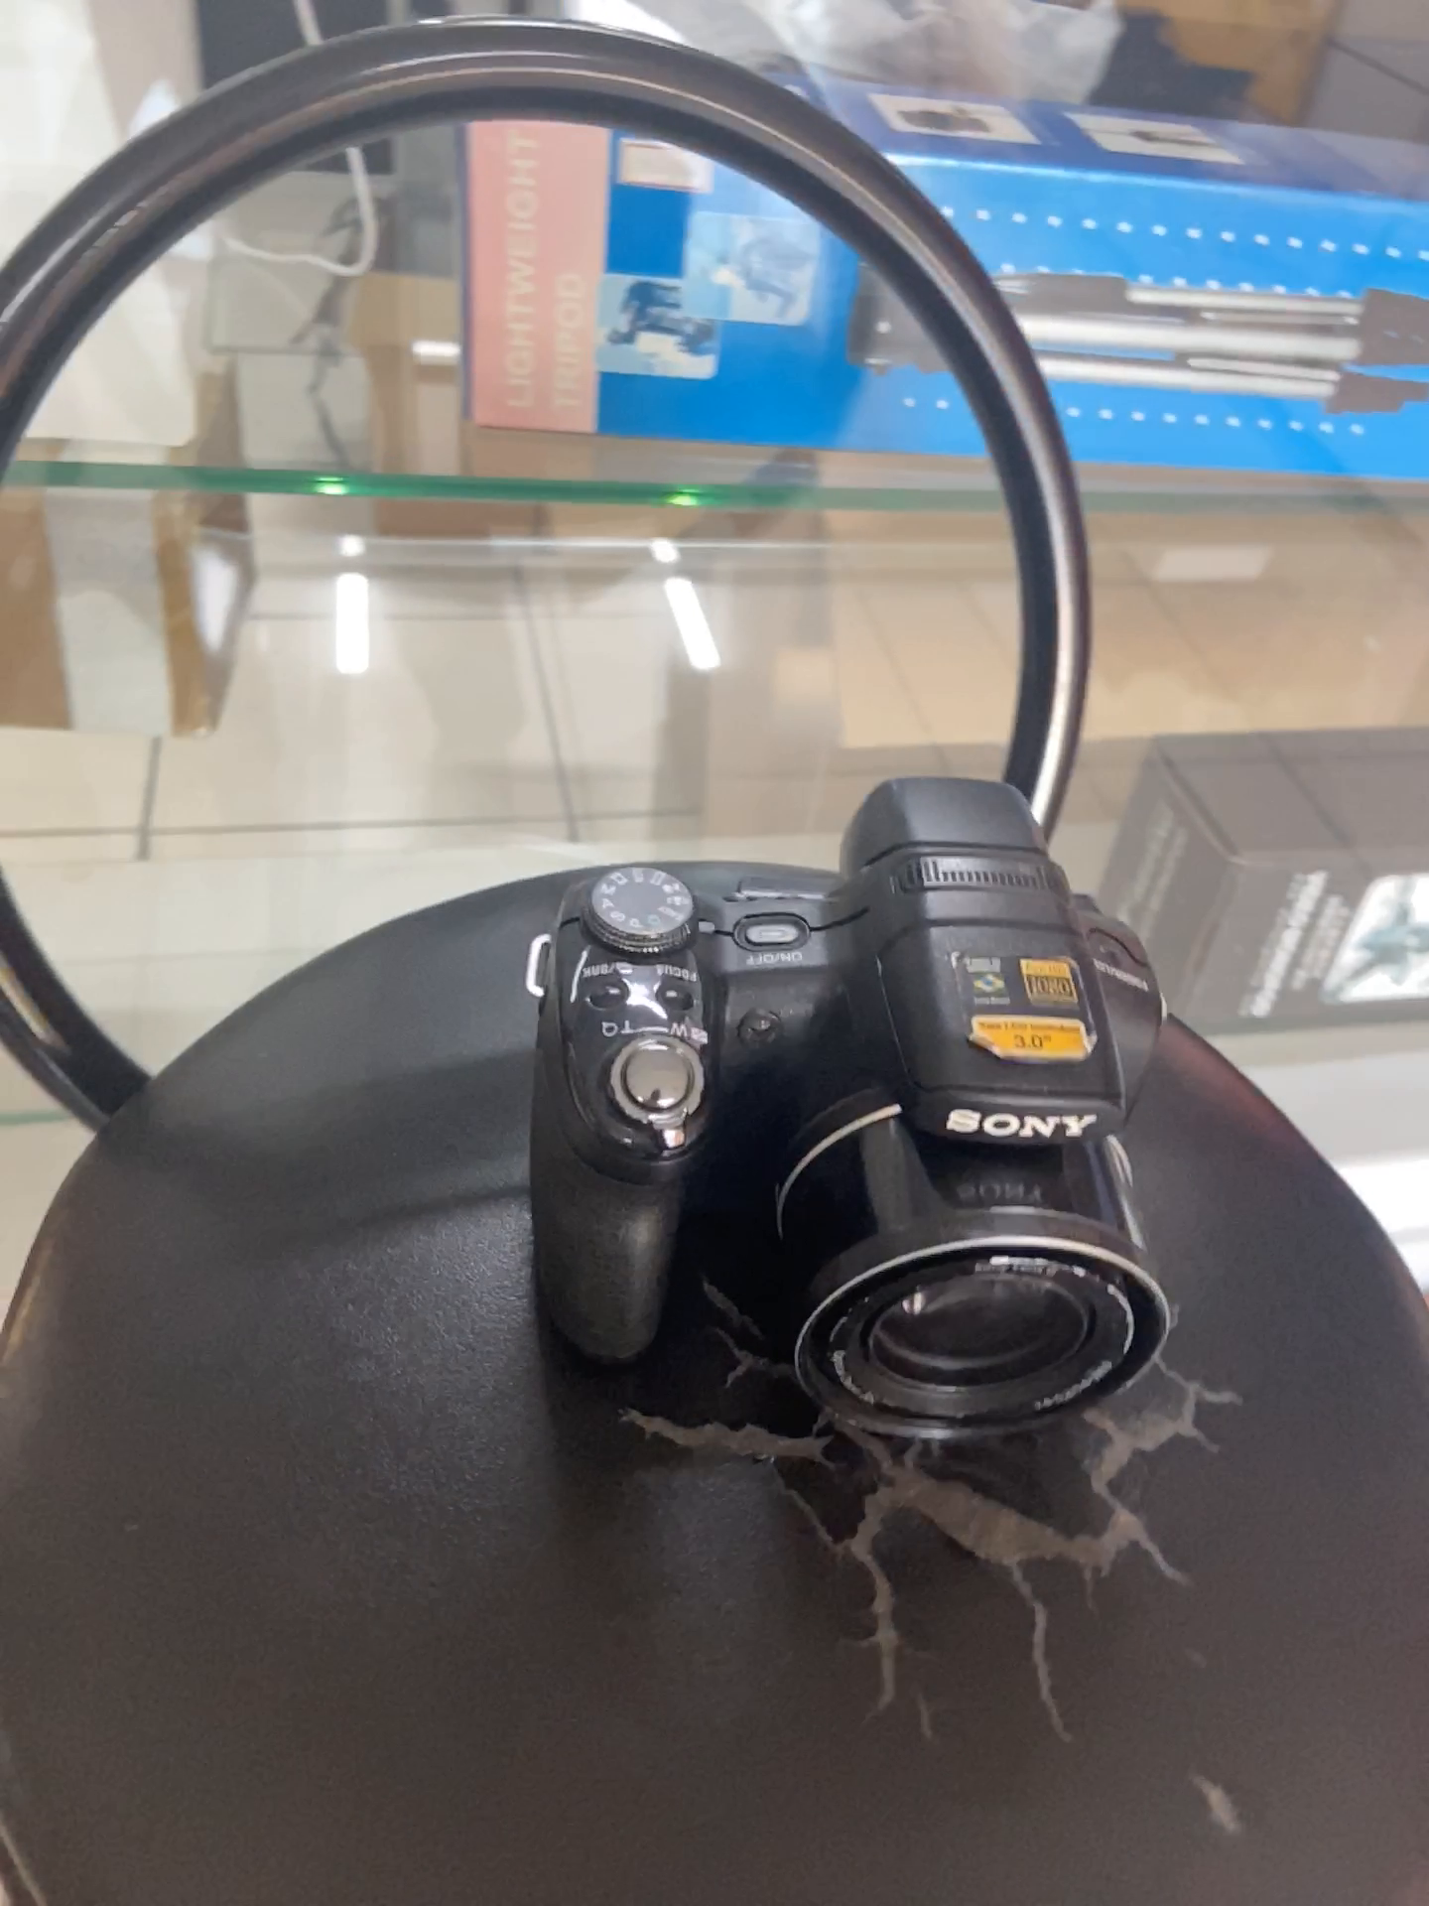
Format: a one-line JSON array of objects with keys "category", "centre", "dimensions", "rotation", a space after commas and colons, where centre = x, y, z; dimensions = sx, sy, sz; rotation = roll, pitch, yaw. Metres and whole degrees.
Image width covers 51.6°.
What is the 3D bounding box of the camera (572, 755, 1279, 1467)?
[{"category": "camera", "centre": [0.027, 0.027, 0.274], "dimensions": [0.100, 0.079, 0.101], "rotation": [3, 41, -5]}]
